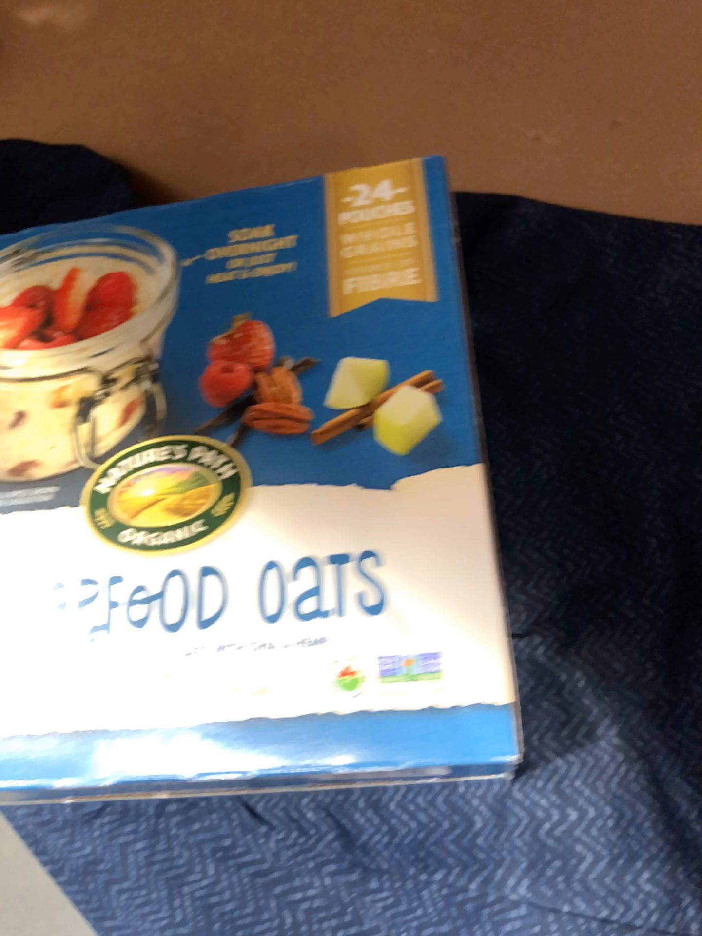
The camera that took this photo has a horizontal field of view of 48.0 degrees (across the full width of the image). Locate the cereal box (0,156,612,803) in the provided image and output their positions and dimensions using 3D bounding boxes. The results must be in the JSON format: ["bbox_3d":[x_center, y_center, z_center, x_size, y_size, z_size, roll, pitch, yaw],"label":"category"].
[{"bbox_3d":[-0.038,0.019,0.373,0.250,0.150,0.240,-7,65,7],"label":"cereal box"}]
